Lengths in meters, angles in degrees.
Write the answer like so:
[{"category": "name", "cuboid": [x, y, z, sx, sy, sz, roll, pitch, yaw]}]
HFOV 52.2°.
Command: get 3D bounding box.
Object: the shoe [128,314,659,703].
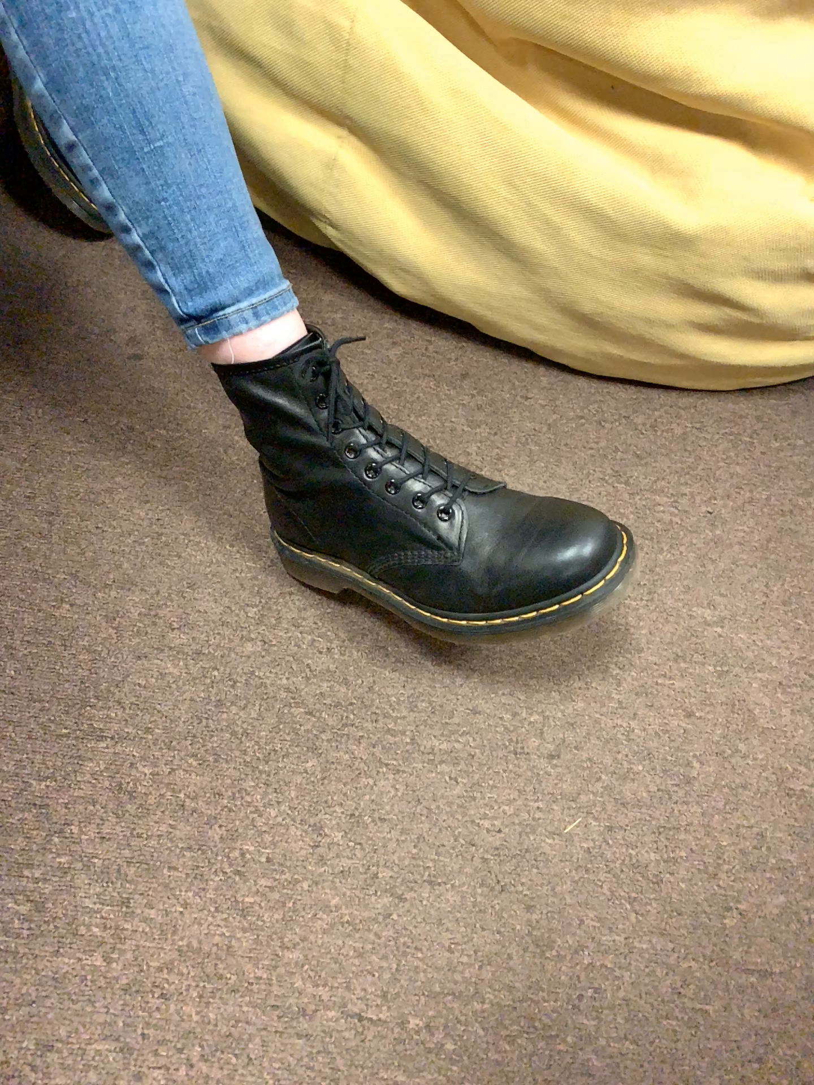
[{"category": "shoe", "cuboid": [-0.012, -0.038, 0.522, 0.290, 0.150, 0.120, 16, 50, 37]}]
